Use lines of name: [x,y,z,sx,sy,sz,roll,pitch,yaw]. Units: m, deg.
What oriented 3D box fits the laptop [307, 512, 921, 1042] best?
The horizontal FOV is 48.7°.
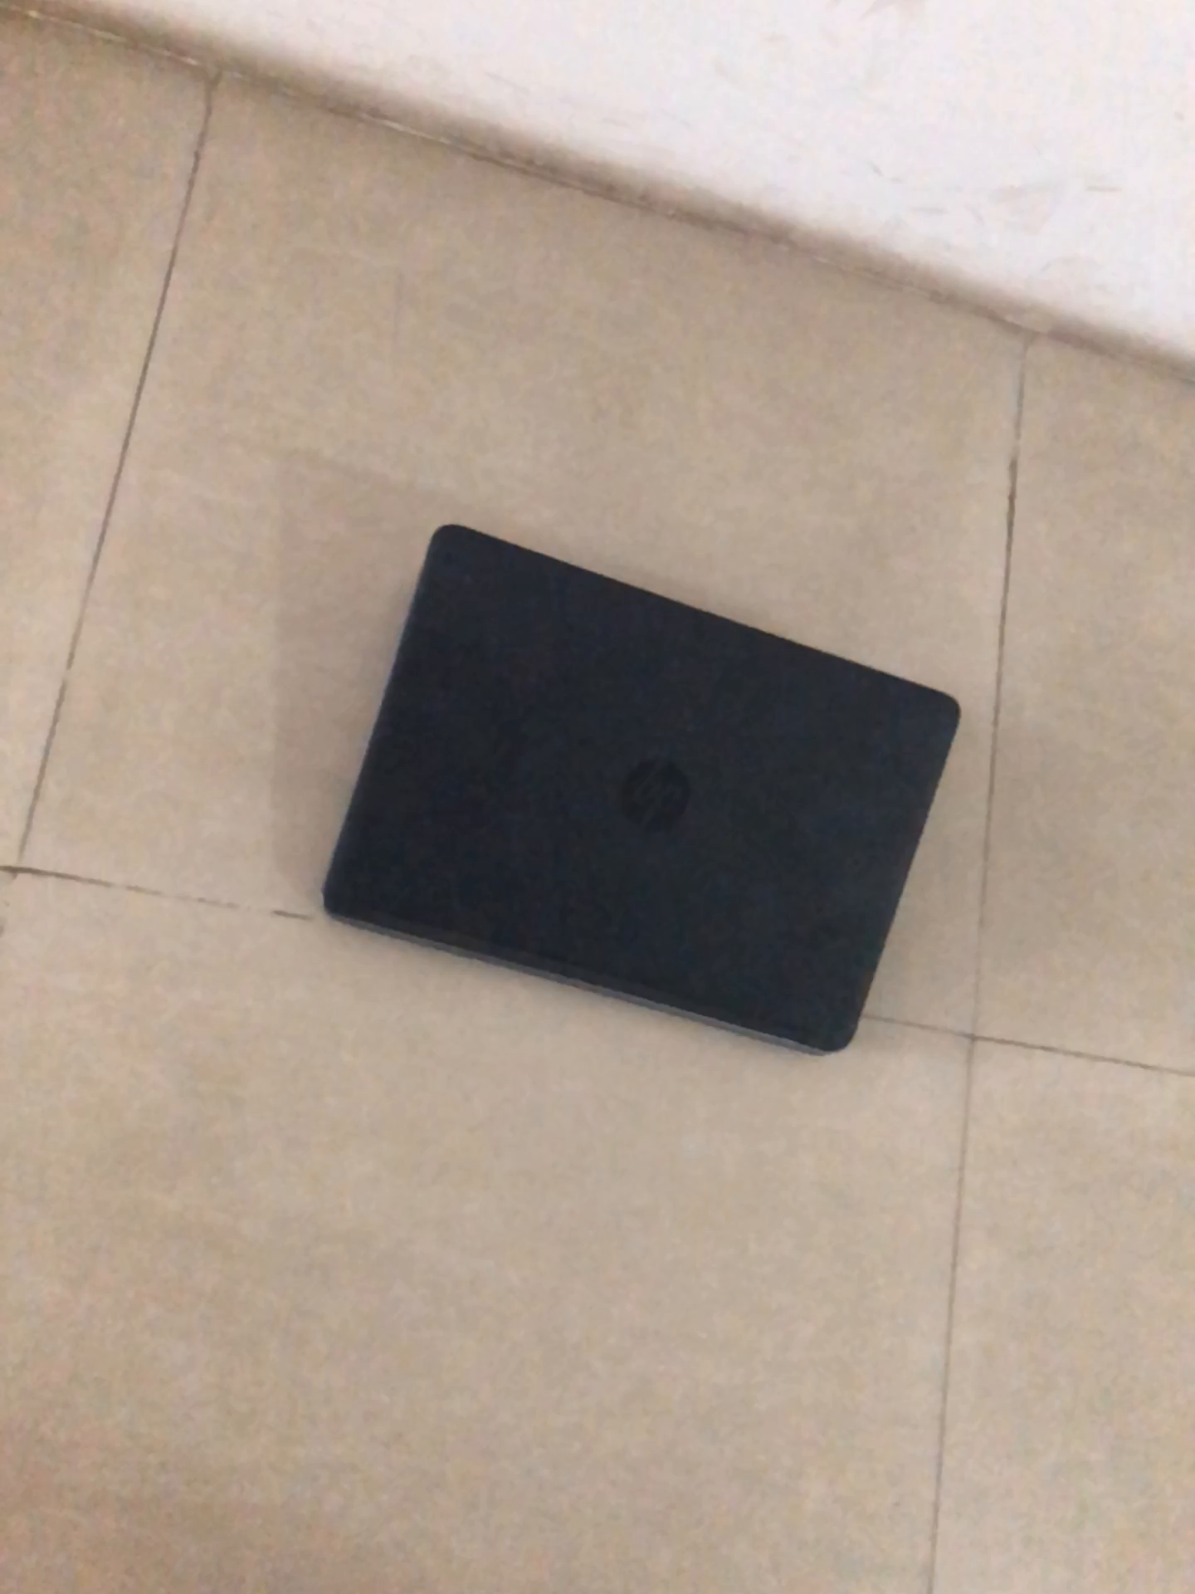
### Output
laptop: [0.013,-0.001,0.773,0.304,0.085,0.214,18,77,-13]
